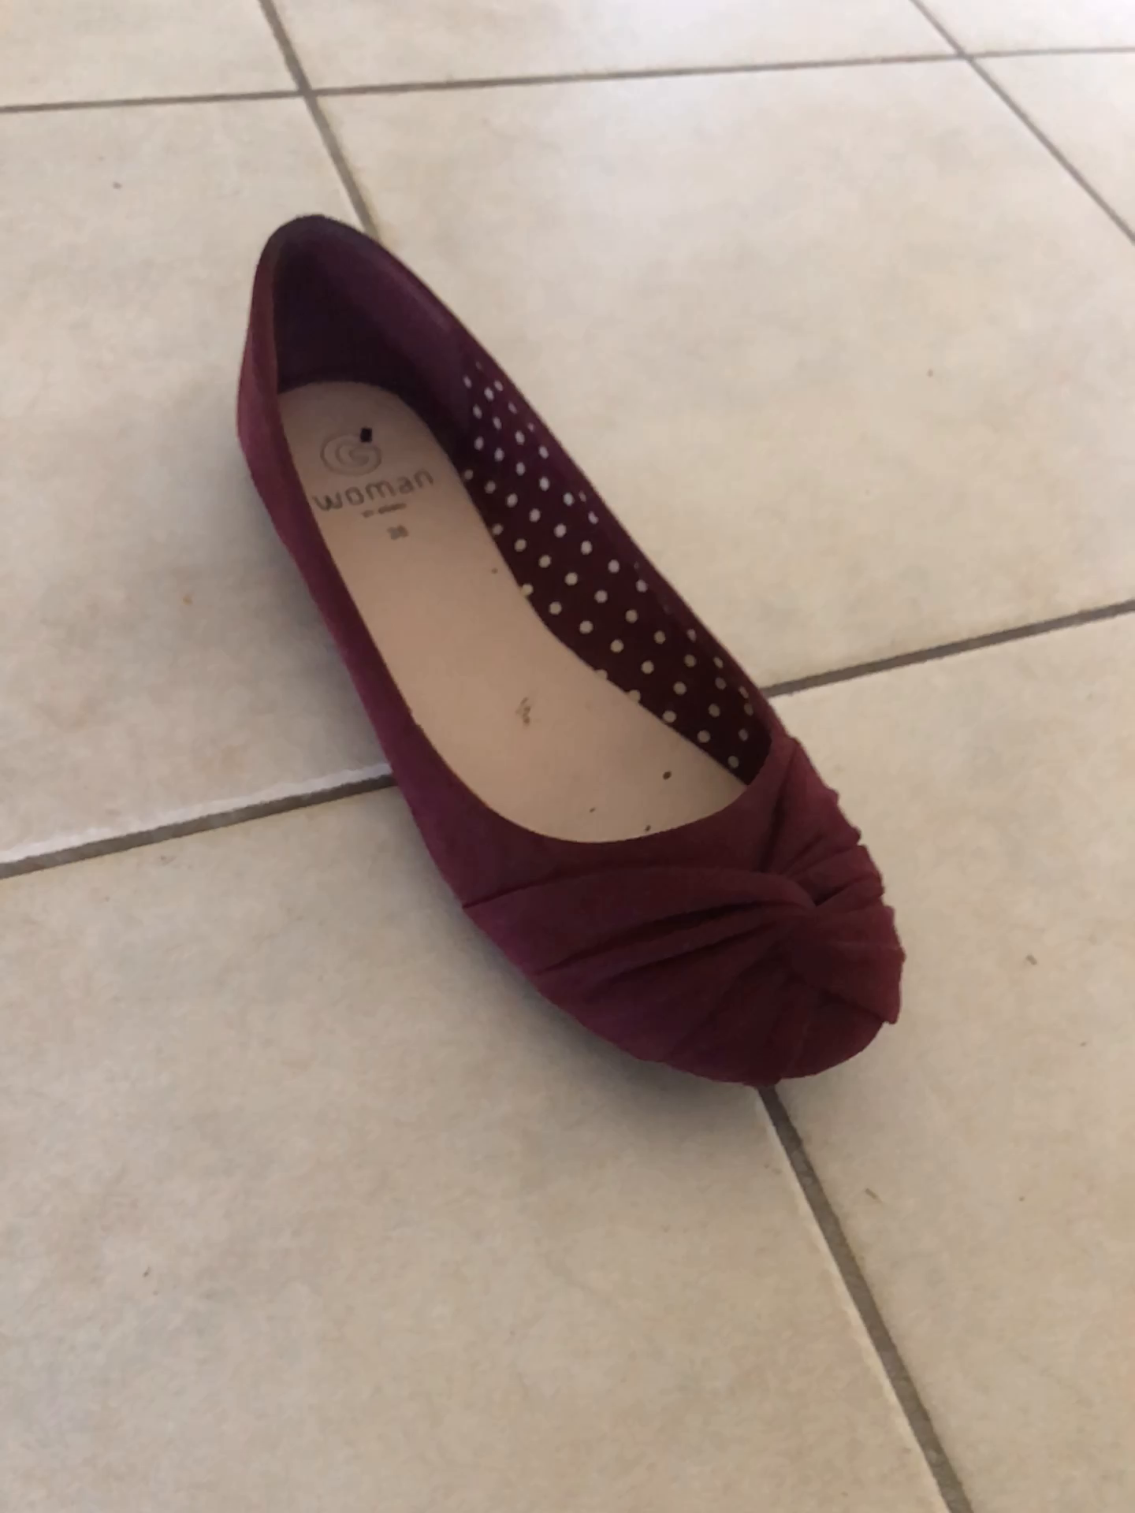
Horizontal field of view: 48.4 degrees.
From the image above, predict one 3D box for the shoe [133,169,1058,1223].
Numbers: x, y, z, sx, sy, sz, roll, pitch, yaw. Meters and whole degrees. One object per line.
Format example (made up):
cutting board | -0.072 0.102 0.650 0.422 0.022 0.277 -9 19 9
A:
shoe | -0.011 -0.028 0.311 0.082 0.080 0.251 -26 64 -20
